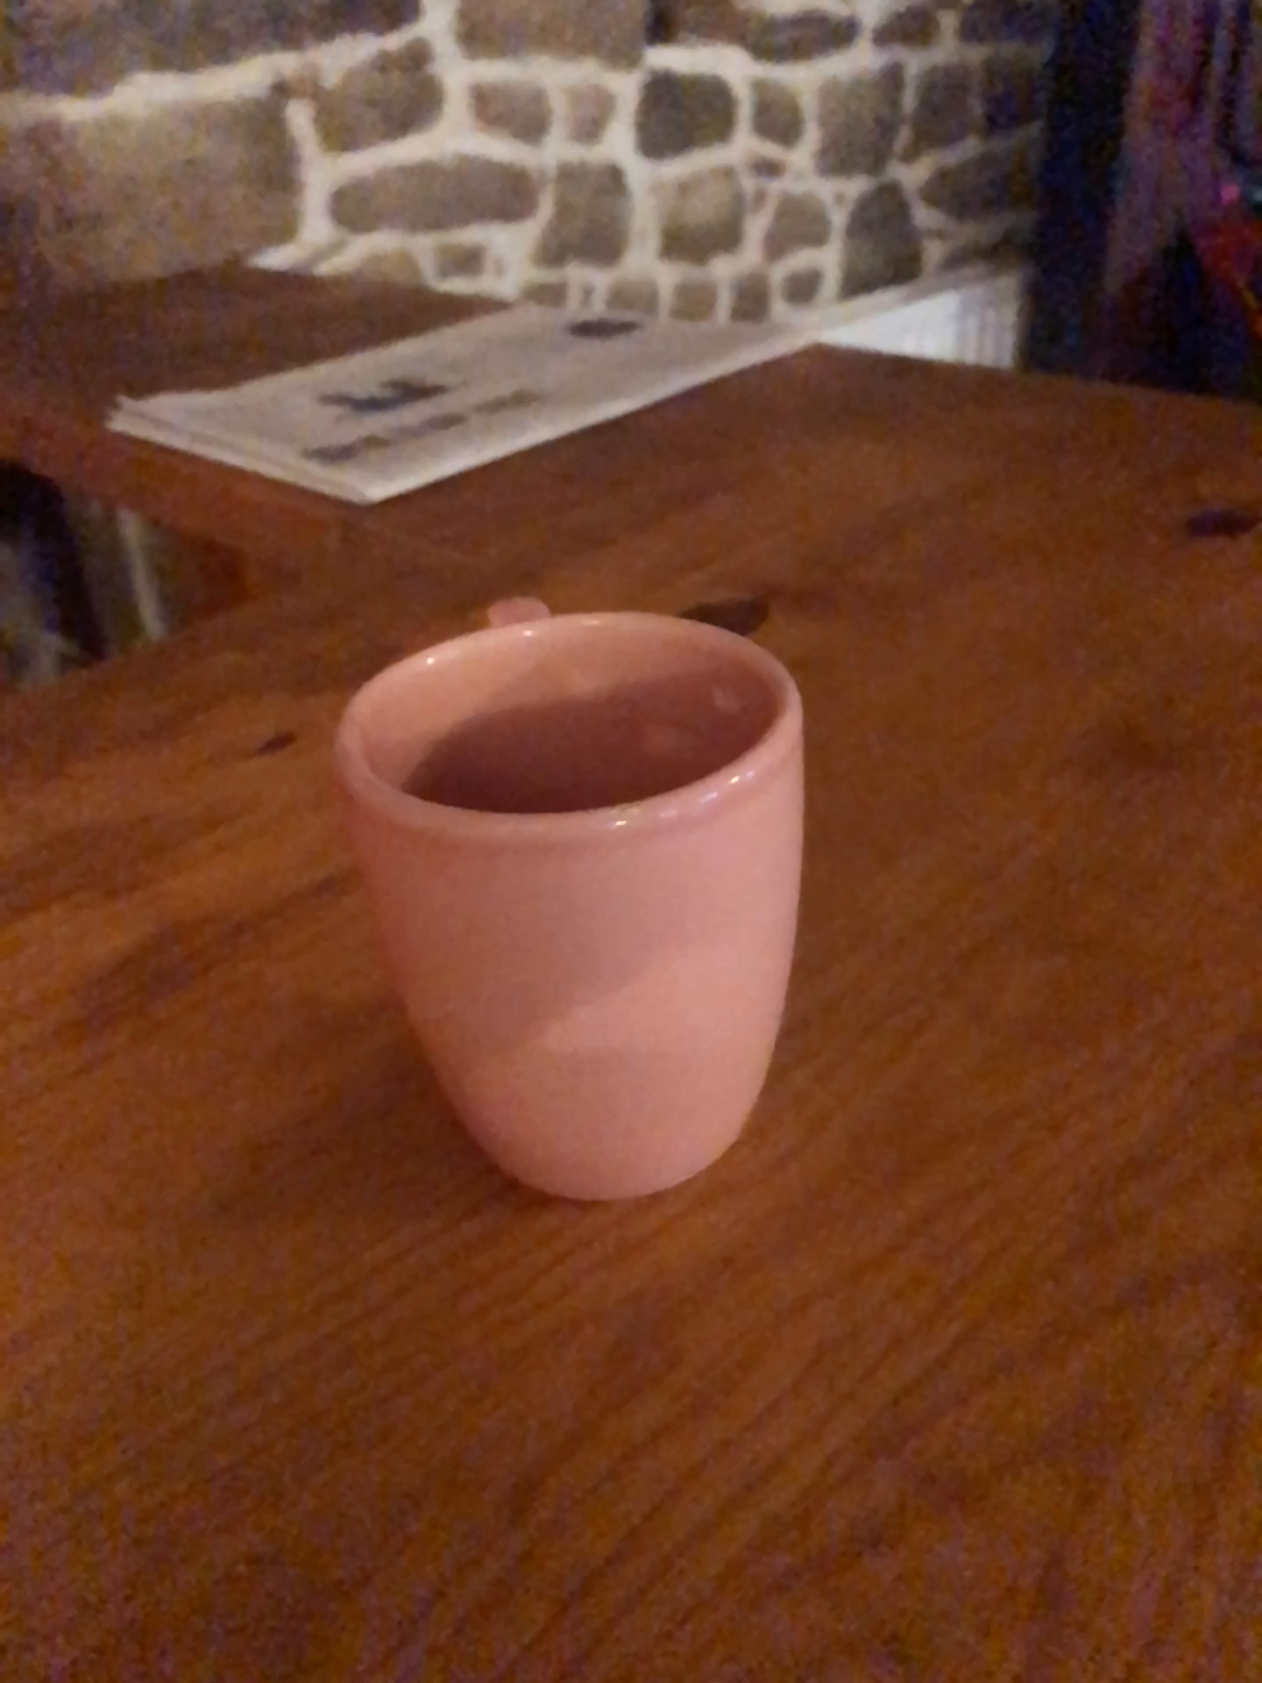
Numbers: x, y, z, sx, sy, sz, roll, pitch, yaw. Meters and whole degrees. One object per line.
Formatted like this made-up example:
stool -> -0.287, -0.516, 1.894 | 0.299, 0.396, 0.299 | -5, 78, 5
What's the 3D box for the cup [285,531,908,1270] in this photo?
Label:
cup -> -0.012, 0.003, 0.309 | 0.090, 0.095, 0.121 | -15, 32, -17
